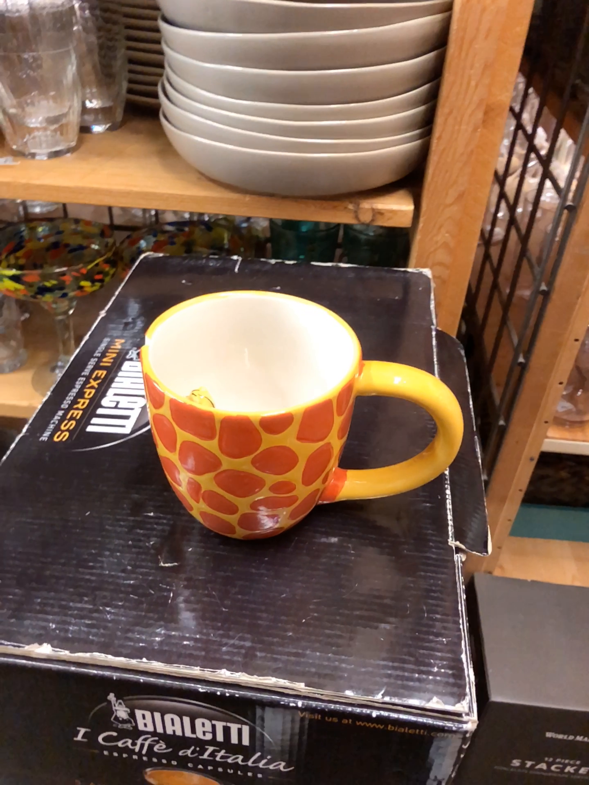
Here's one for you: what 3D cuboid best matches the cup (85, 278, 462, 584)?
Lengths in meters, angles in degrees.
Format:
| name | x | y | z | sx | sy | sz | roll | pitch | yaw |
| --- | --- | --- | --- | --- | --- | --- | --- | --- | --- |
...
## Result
| name | x | y | z | sx | sy | sz | roll | pitch | yaw |
| --- | --- | --- | --- | --- | --- | --- | --- | --- | --- |
| cup | -0.004 | 0.011 | 0.289 | 0.134 | 0.067 | 0.103 | 8 | 38 | 4 |
